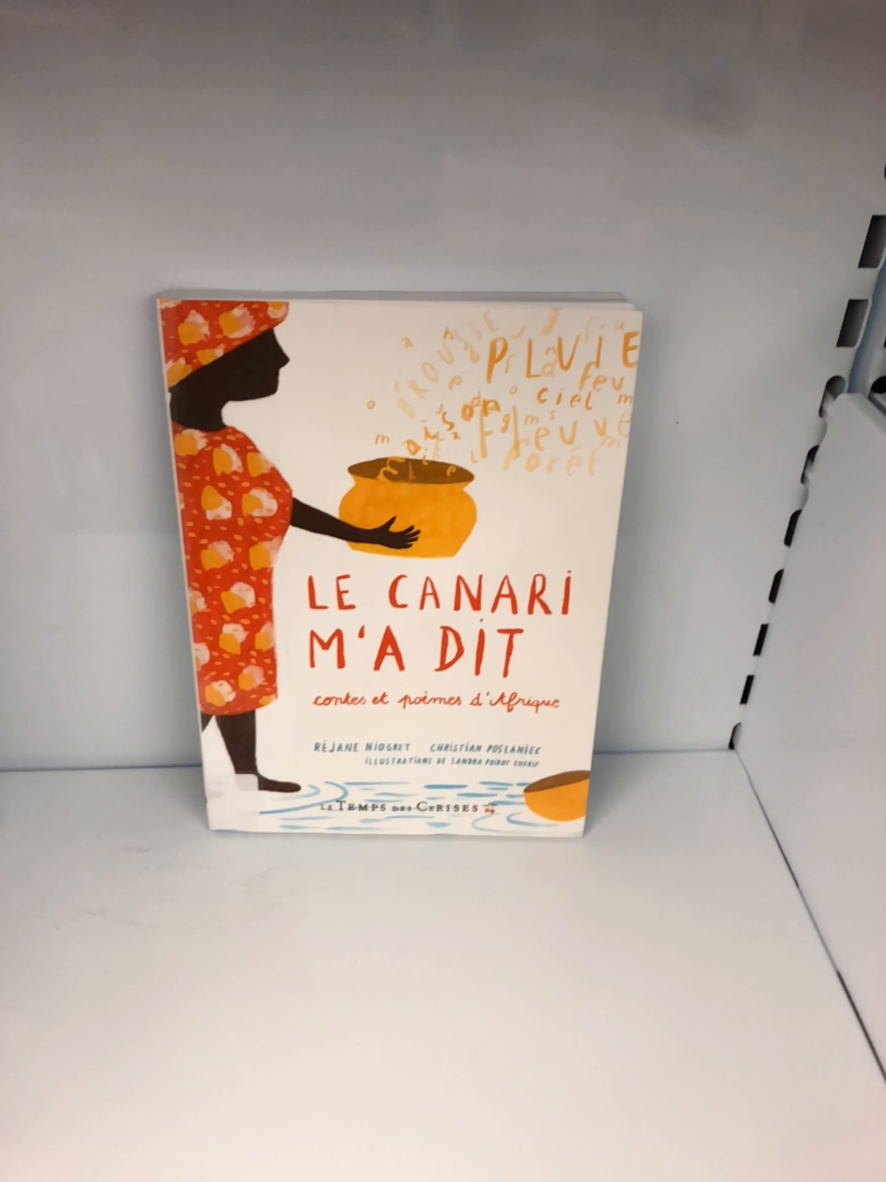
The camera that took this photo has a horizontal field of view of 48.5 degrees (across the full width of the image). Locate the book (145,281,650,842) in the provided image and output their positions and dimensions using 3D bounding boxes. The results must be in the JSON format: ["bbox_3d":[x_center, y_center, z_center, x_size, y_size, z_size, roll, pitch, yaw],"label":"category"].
[{"bbox_3d":[-0.017,-0.002,0.350,0.149,0.199,0.037,1,26,-3],"label":"book"}]
